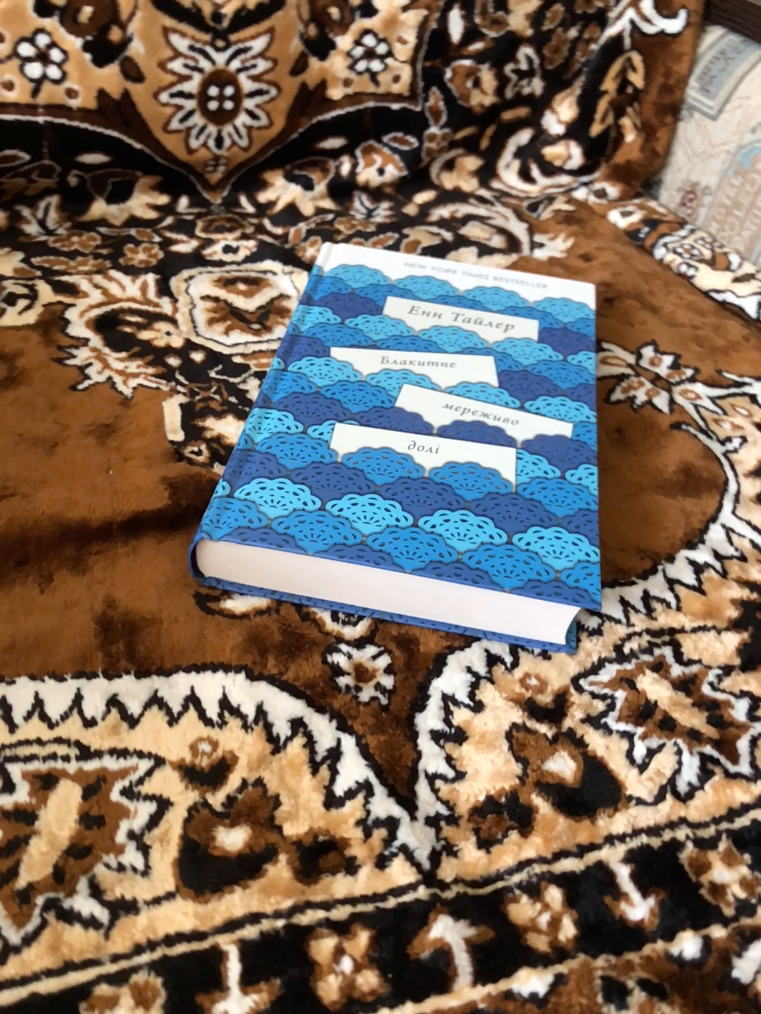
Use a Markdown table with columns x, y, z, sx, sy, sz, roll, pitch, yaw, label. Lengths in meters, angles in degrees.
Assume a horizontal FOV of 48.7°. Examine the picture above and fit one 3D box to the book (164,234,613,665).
| x | y | z | sx | sy | sz | roll | pitch | yaw | label |
| --- | --- | --- | --- | --- | --- | --- | --- | --- | --- |
| 0.019 | -0.046 | 0.380 | 0.154 | 0.030 | 0.235 | 10 | 43 | 3 | book |
